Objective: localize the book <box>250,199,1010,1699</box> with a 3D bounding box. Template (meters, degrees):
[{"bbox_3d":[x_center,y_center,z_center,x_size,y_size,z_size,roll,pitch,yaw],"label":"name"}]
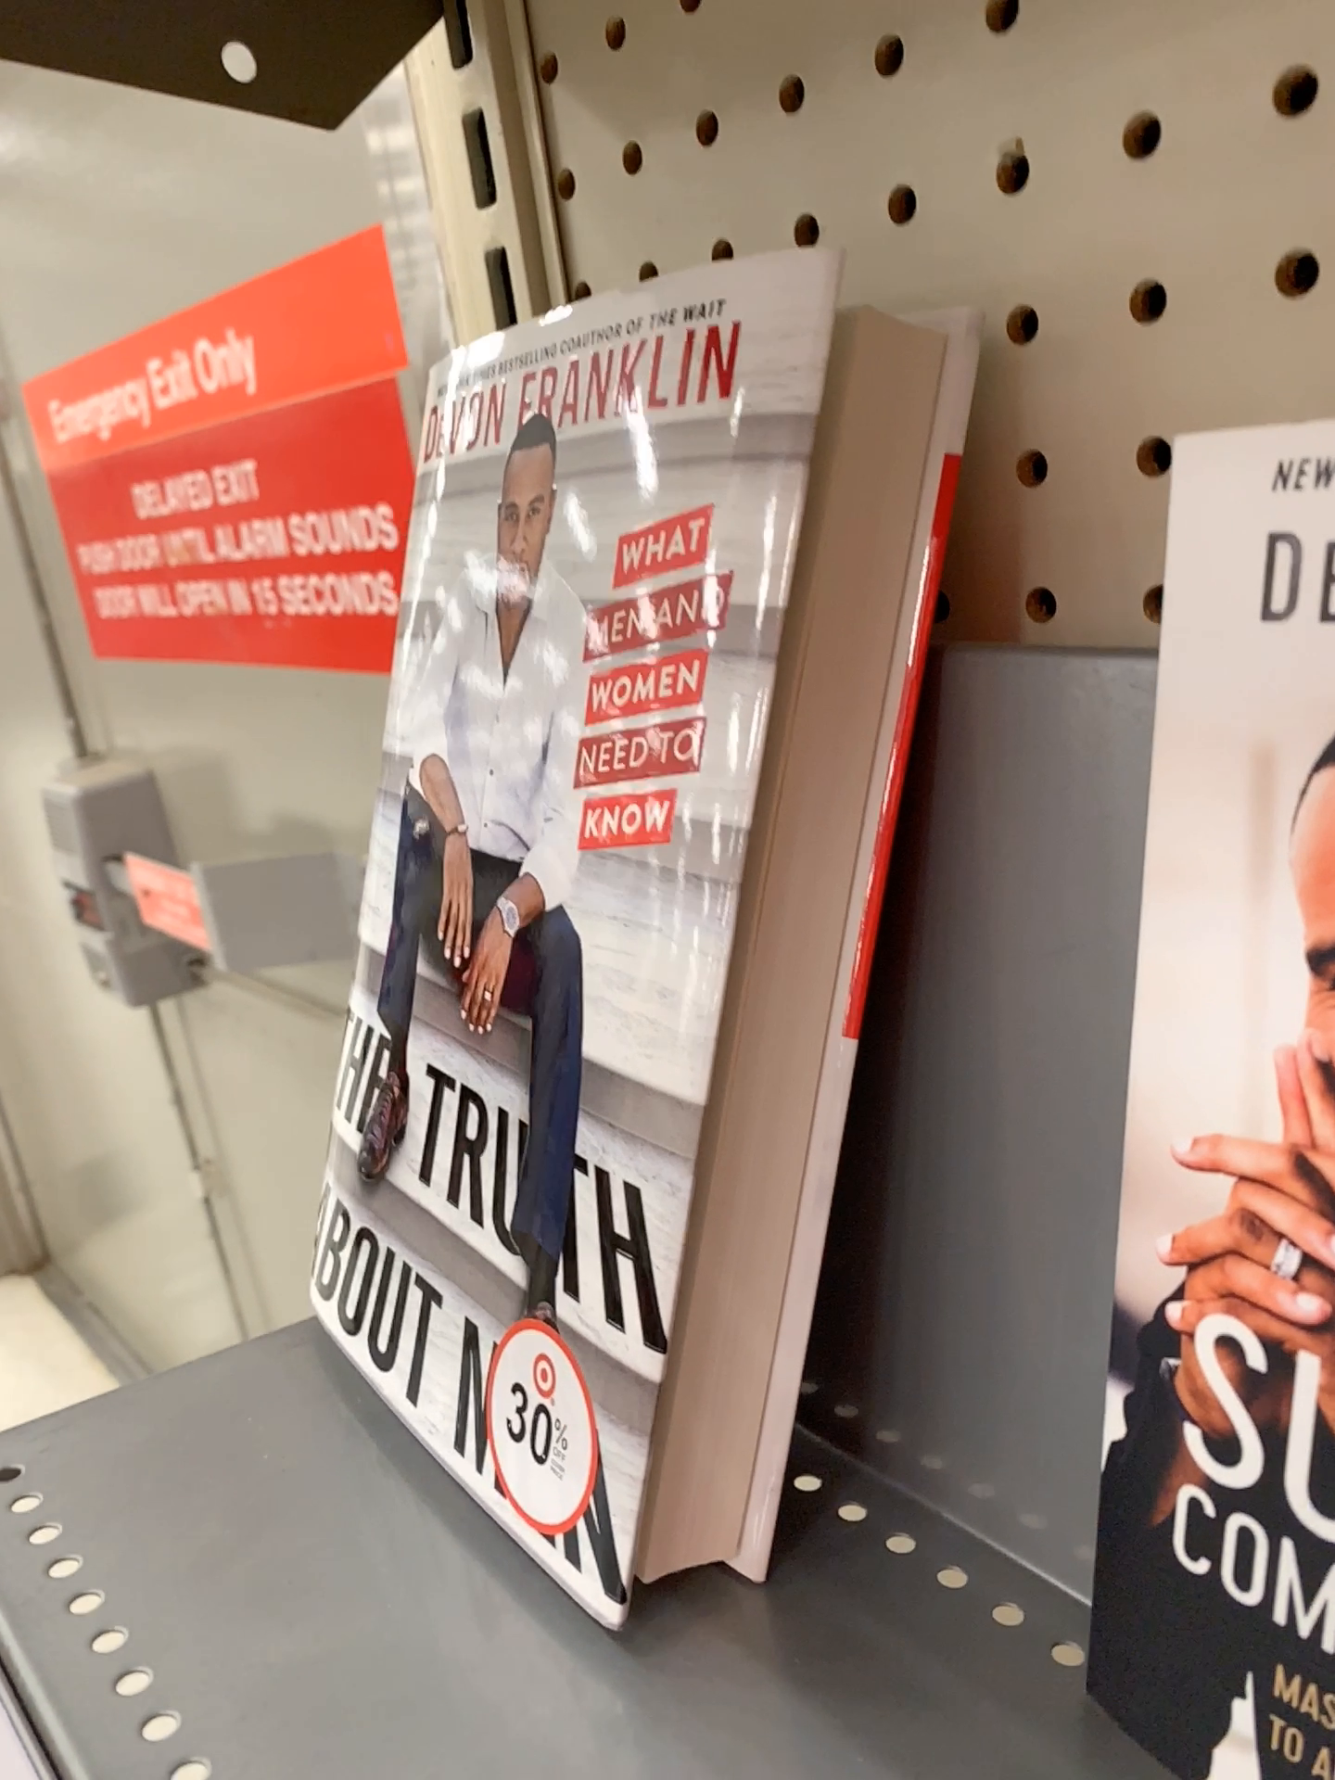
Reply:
[{"bbox_3d":[-0.025,0.002,0.290,0.040,0.236,0.161,6,6,-37],"label":"book"}]
